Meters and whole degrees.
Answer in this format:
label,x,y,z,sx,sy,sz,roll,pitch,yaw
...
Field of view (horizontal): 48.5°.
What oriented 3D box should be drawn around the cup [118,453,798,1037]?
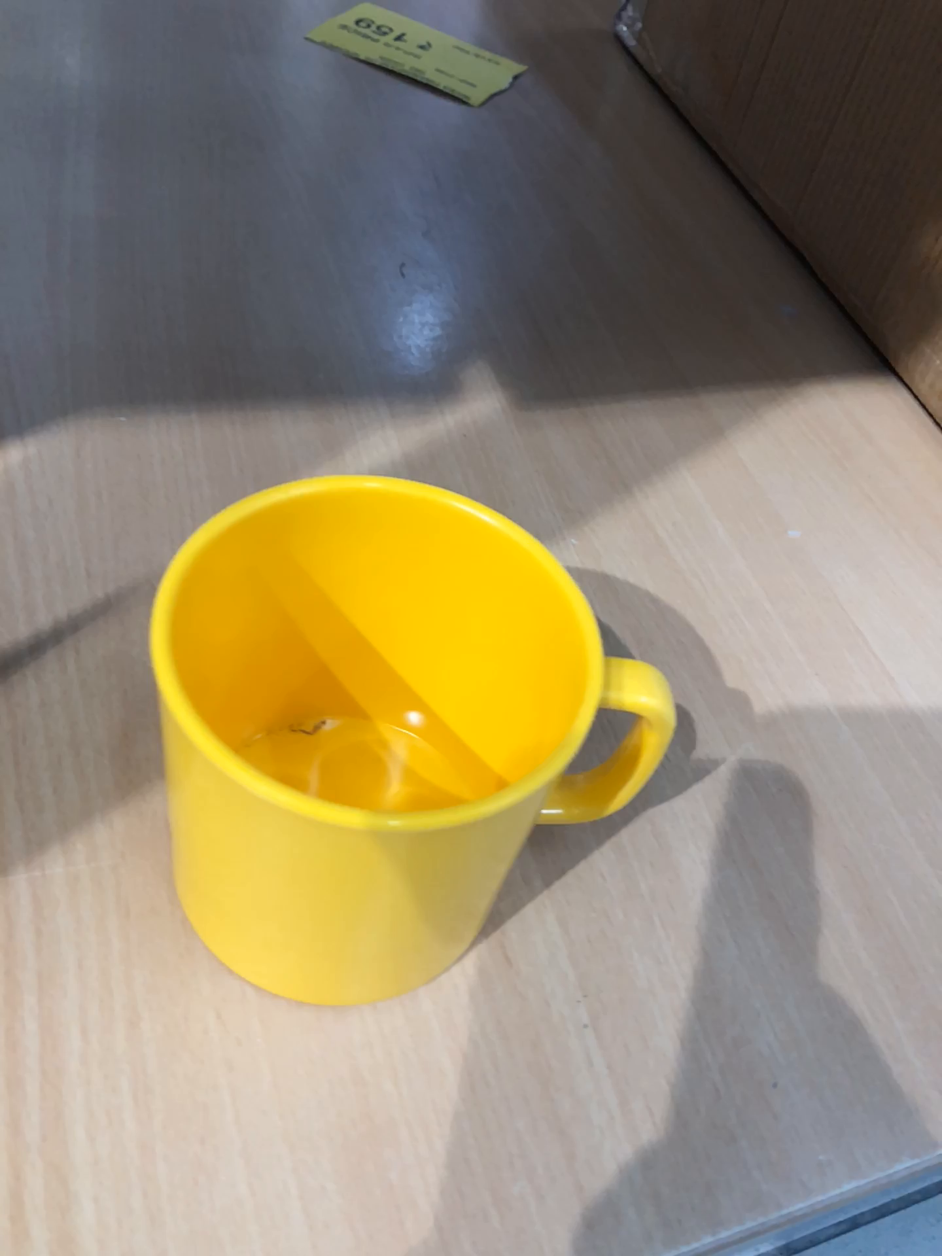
label,x,y,z,sx,sy,sz,roll,pitch,yaw
cup,-0.012,0.028,0.223,0.110,0.089,0.080,3,49,-13
